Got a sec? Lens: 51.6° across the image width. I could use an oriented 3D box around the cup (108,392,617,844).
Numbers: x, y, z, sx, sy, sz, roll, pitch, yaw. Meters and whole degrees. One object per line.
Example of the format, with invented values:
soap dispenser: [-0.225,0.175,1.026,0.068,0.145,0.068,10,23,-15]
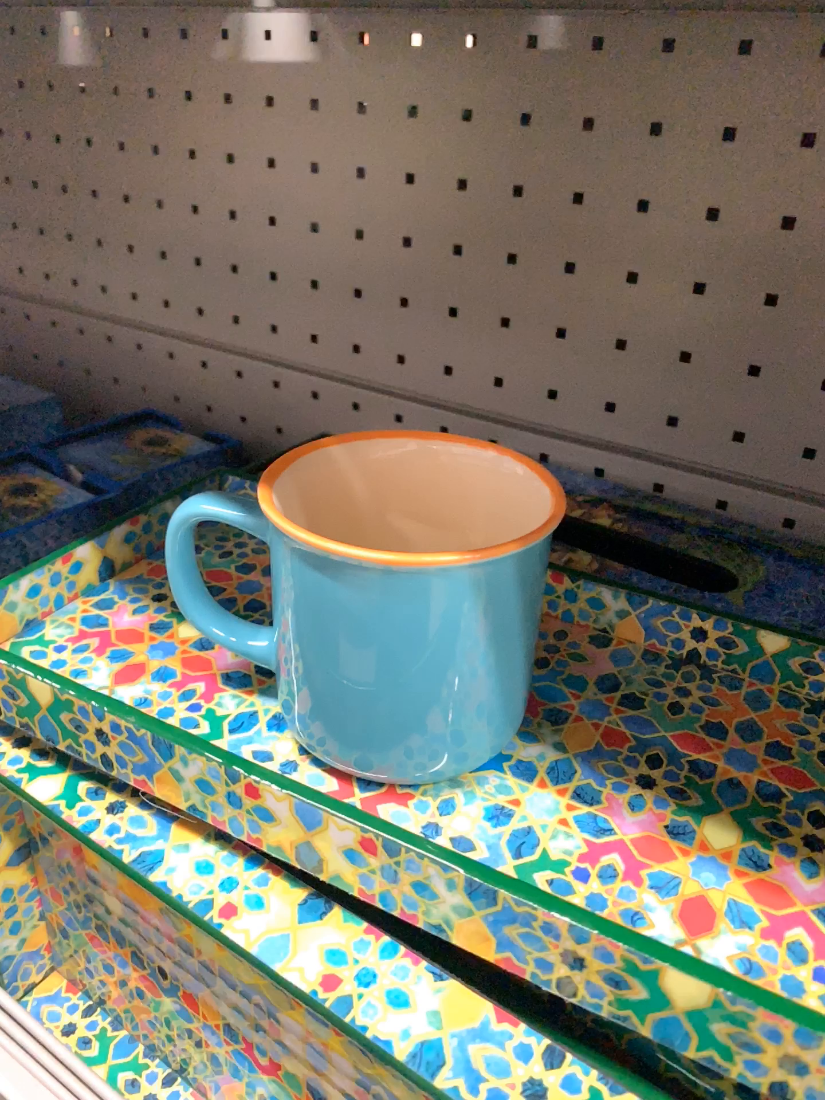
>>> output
cup: [-0.010,0.011,0.264,0.120,0.080,0.090,12,30,17]
